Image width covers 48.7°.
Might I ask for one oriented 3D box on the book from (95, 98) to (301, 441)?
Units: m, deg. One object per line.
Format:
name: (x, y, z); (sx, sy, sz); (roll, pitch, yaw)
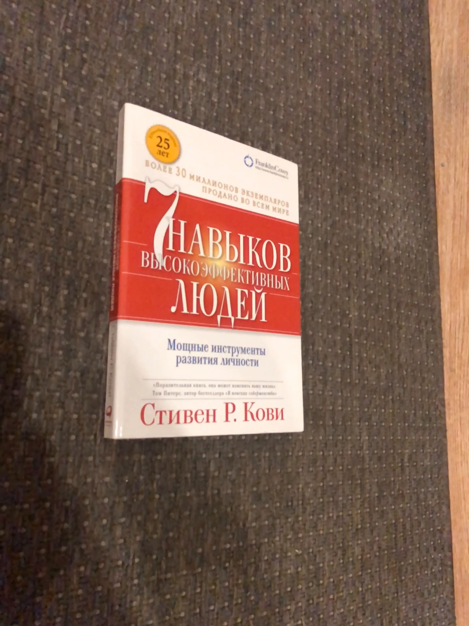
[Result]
book: (-0.017, -0.025, 0.403); (0.166, 0.020, 0.236); (8, 78, -35)
